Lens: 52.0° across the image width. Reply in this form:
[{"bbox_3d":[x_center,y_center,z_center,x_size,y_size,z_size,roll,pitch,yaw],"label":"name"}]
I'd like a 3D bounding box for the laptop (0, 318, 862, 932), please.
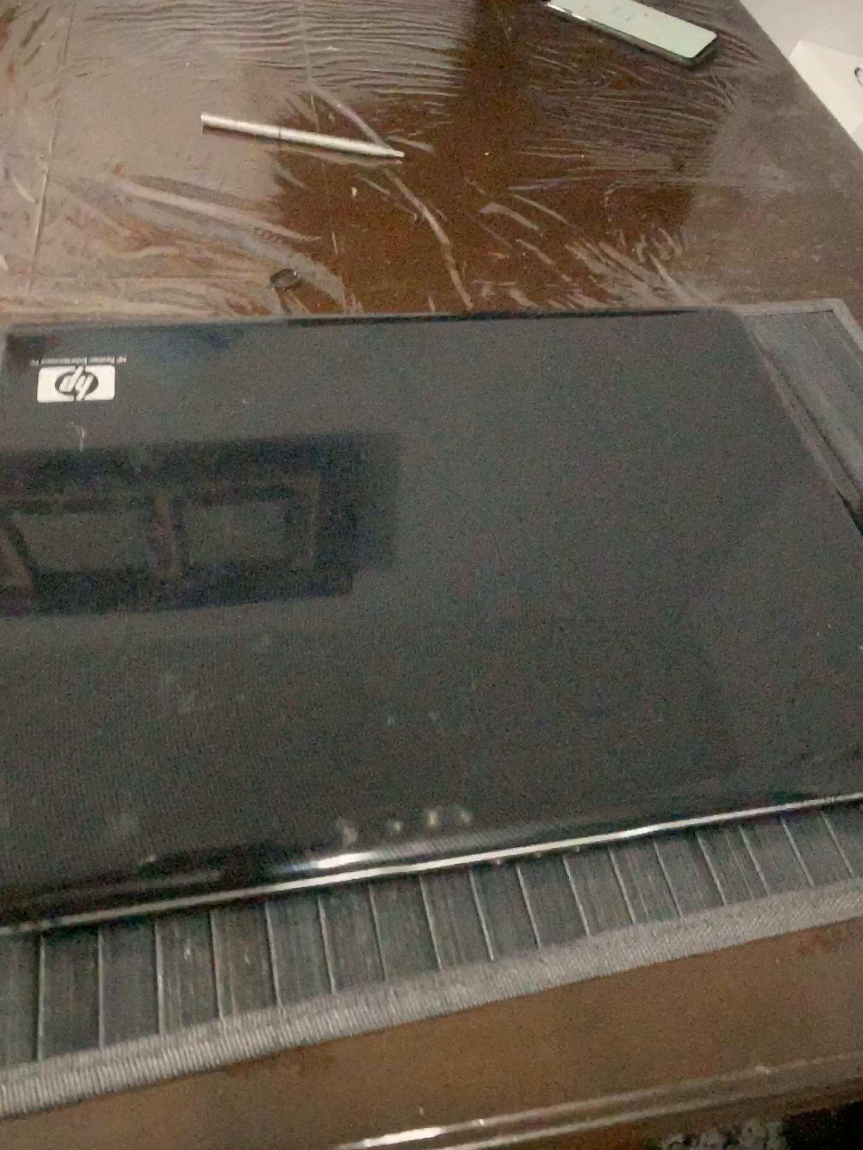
[{"bbox_3d":[0.010,-0.017,0.343,0.339,0.009,0.231,-5,57,-15],"label":"laptop"}]
